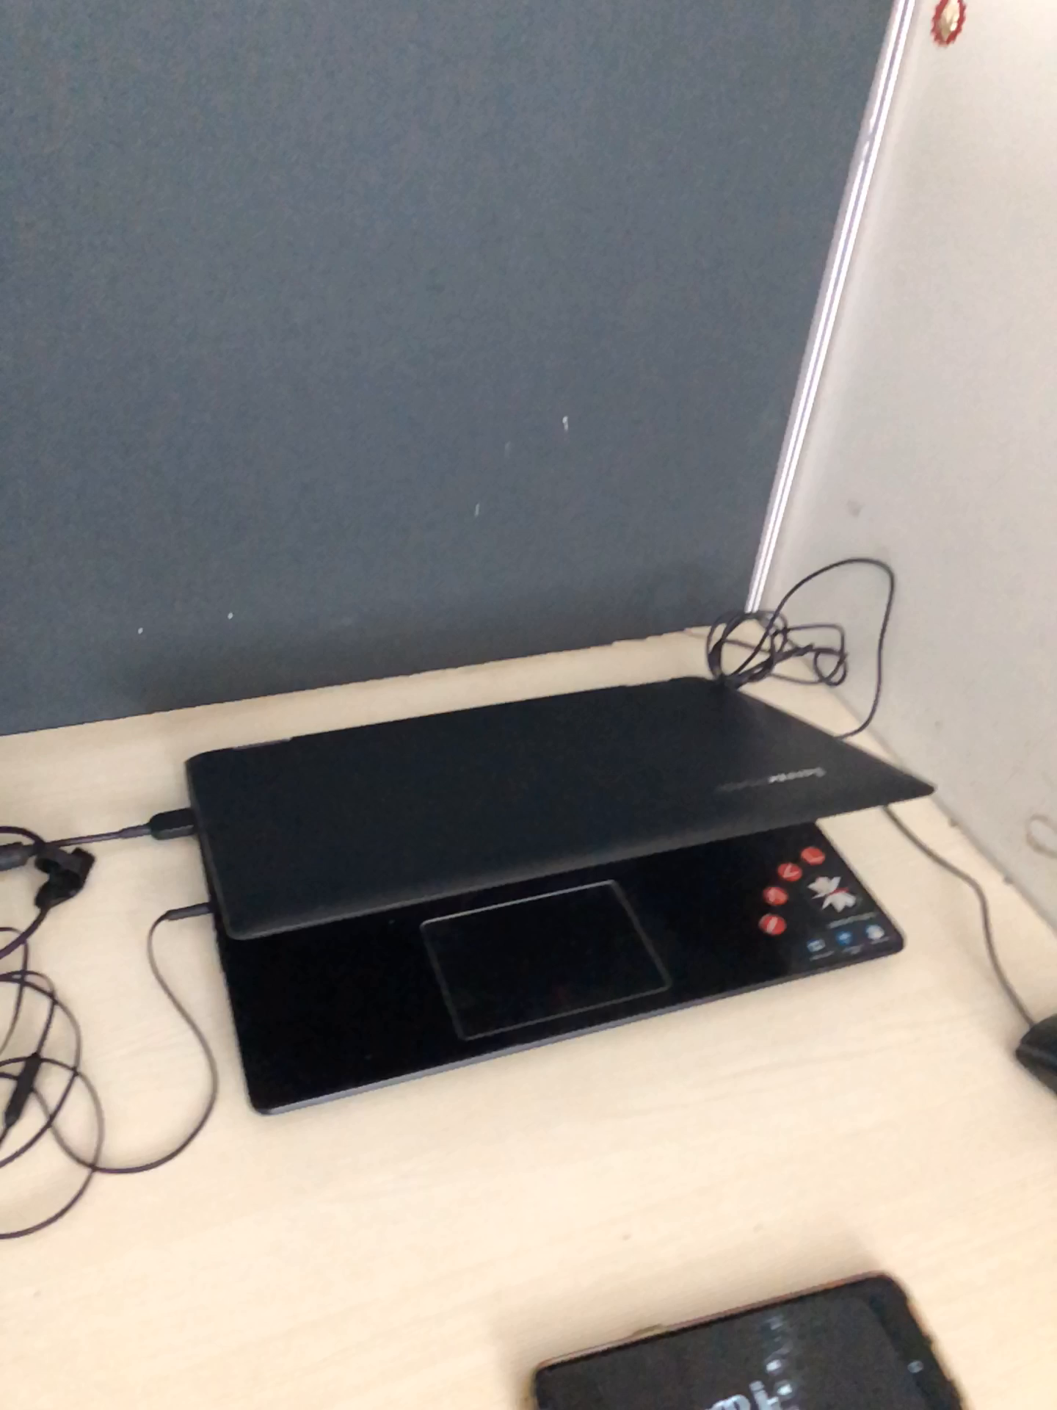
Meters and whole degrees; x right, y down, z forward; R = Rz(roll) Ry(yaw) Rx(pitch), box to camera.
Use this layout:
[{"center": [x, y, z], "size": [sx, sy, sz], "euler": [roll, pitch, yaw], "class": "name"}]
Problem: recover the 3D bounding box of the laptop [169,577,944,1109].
[{"center": [0.000, 0.046, 0.594], "size": [0.326, 0.082, 0.220], "euler": [-9, 39, -19], "class": "laptop"}]
